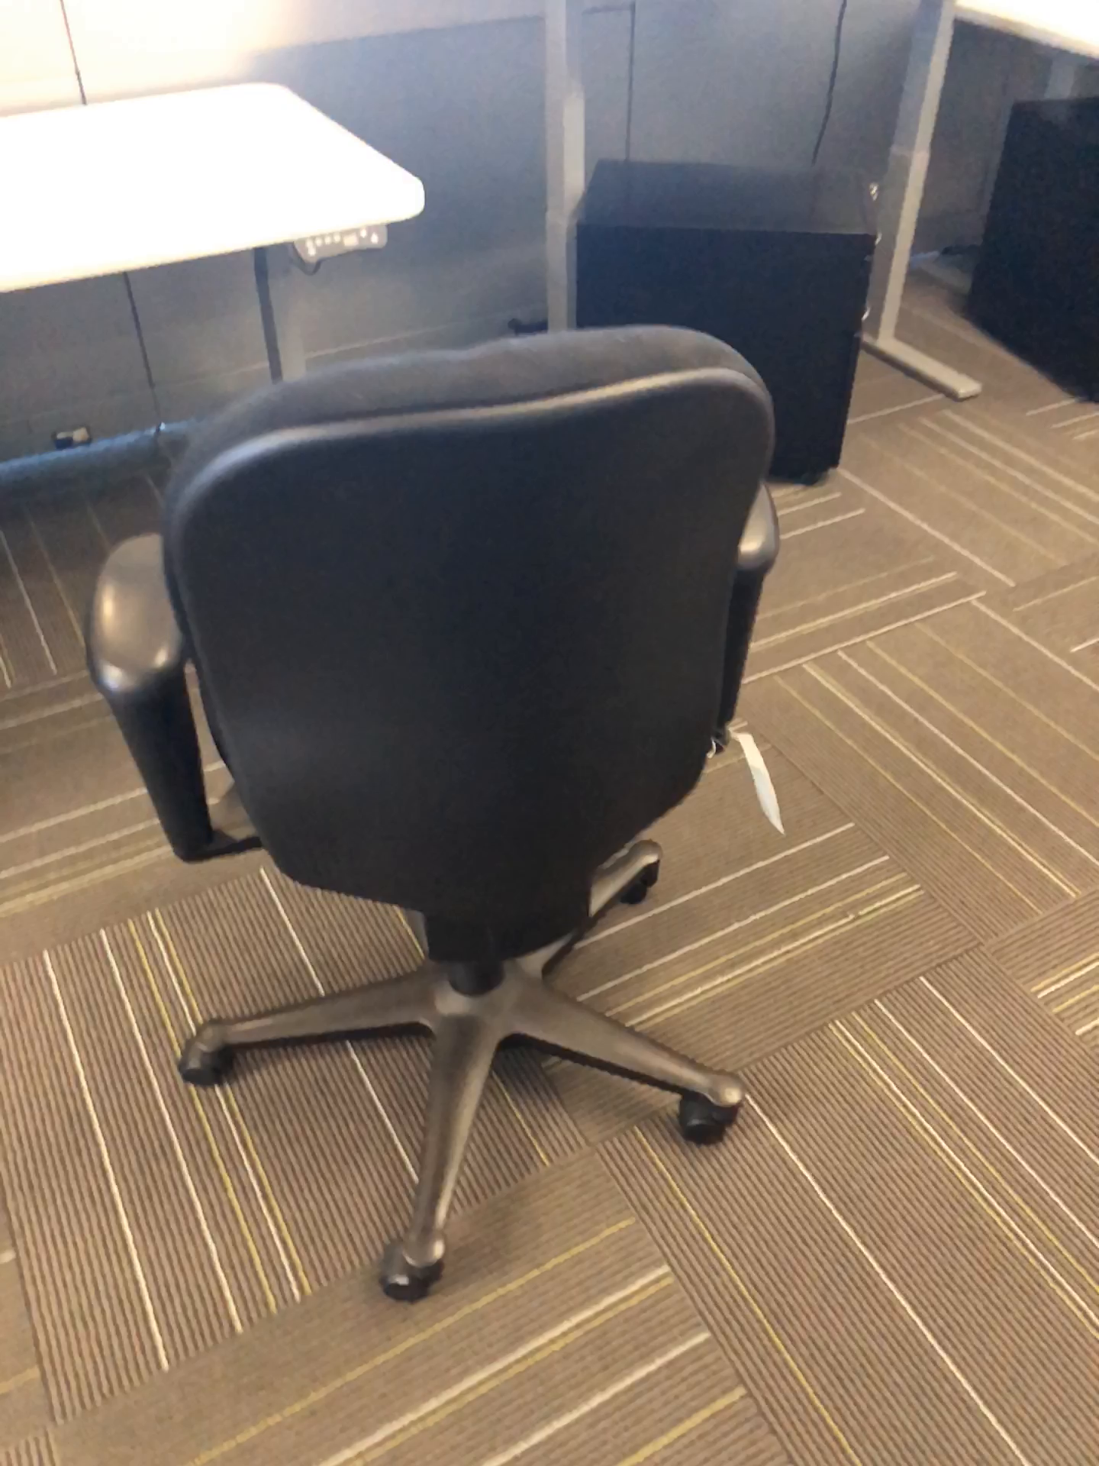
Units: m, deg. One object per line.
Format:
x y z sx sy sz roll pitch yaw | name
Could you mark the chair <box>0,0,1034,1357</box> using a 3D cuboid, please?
-0.157 -0.043 1.149 0.700 0.995 0.683 -8 41 -8 | chair
